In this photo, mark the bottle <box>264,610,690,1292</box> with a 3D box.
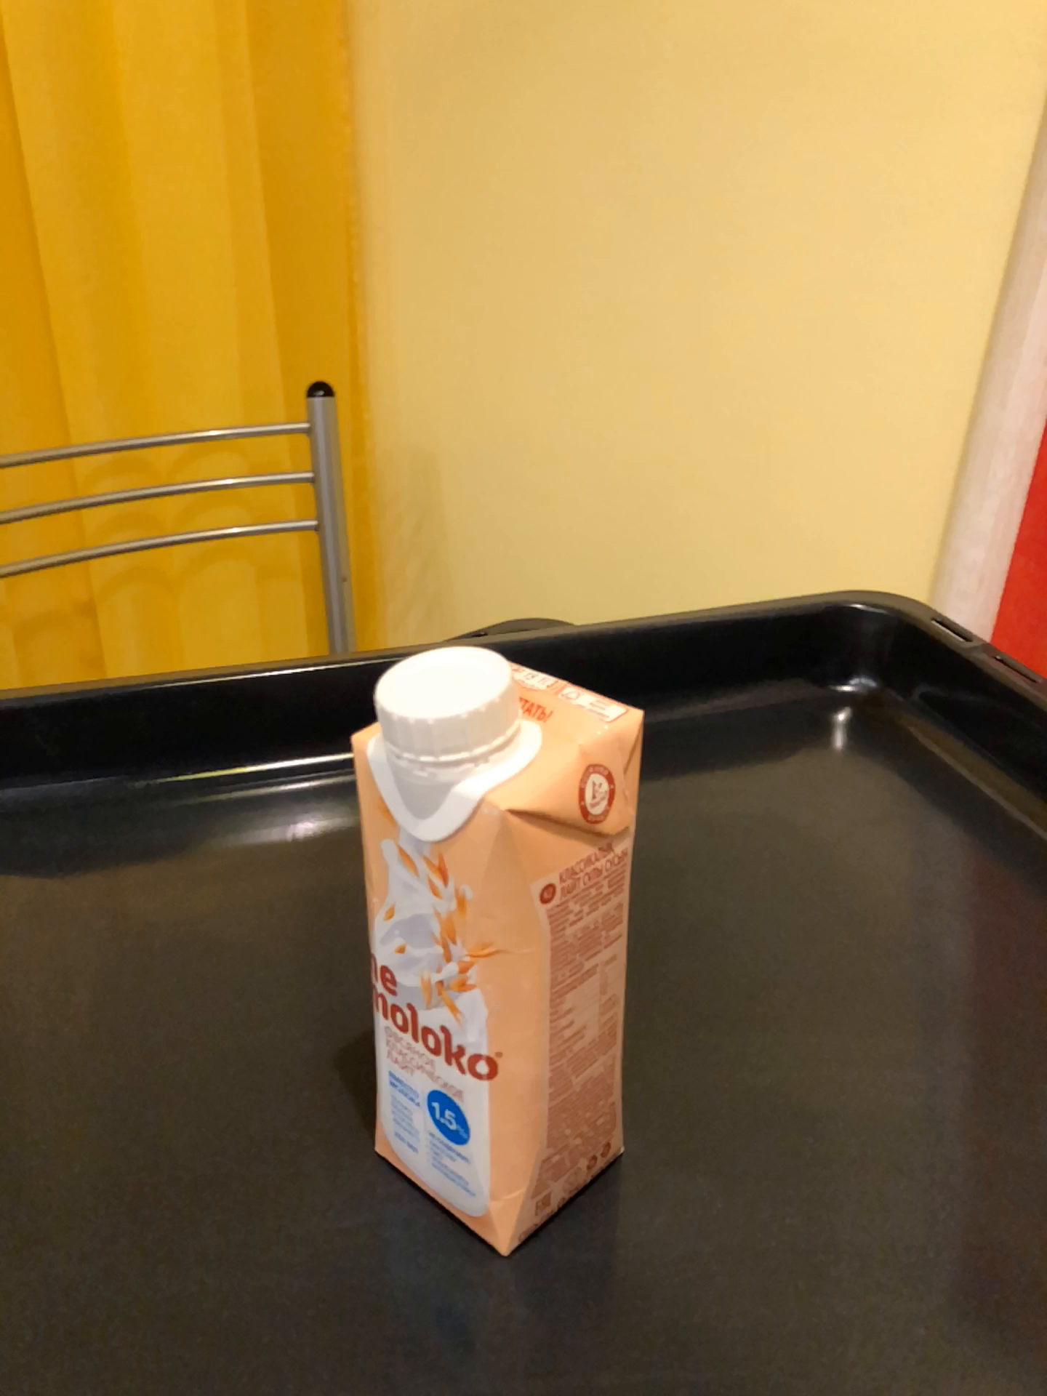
[{"bbox_3d":[-0.010,0.052,0.255,0.060,0.119,0.060,1,25,0],"label":"bottle"}]
